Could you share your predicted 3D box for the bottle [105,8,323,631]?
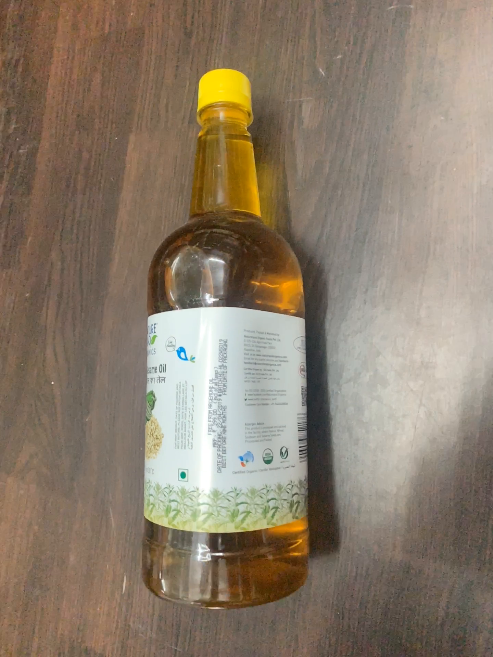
[{"bbox_3d":[-0.019,-0.007,0.268,0.080,0.090,0.270,159,114,-71],"label":"bottle"}]
